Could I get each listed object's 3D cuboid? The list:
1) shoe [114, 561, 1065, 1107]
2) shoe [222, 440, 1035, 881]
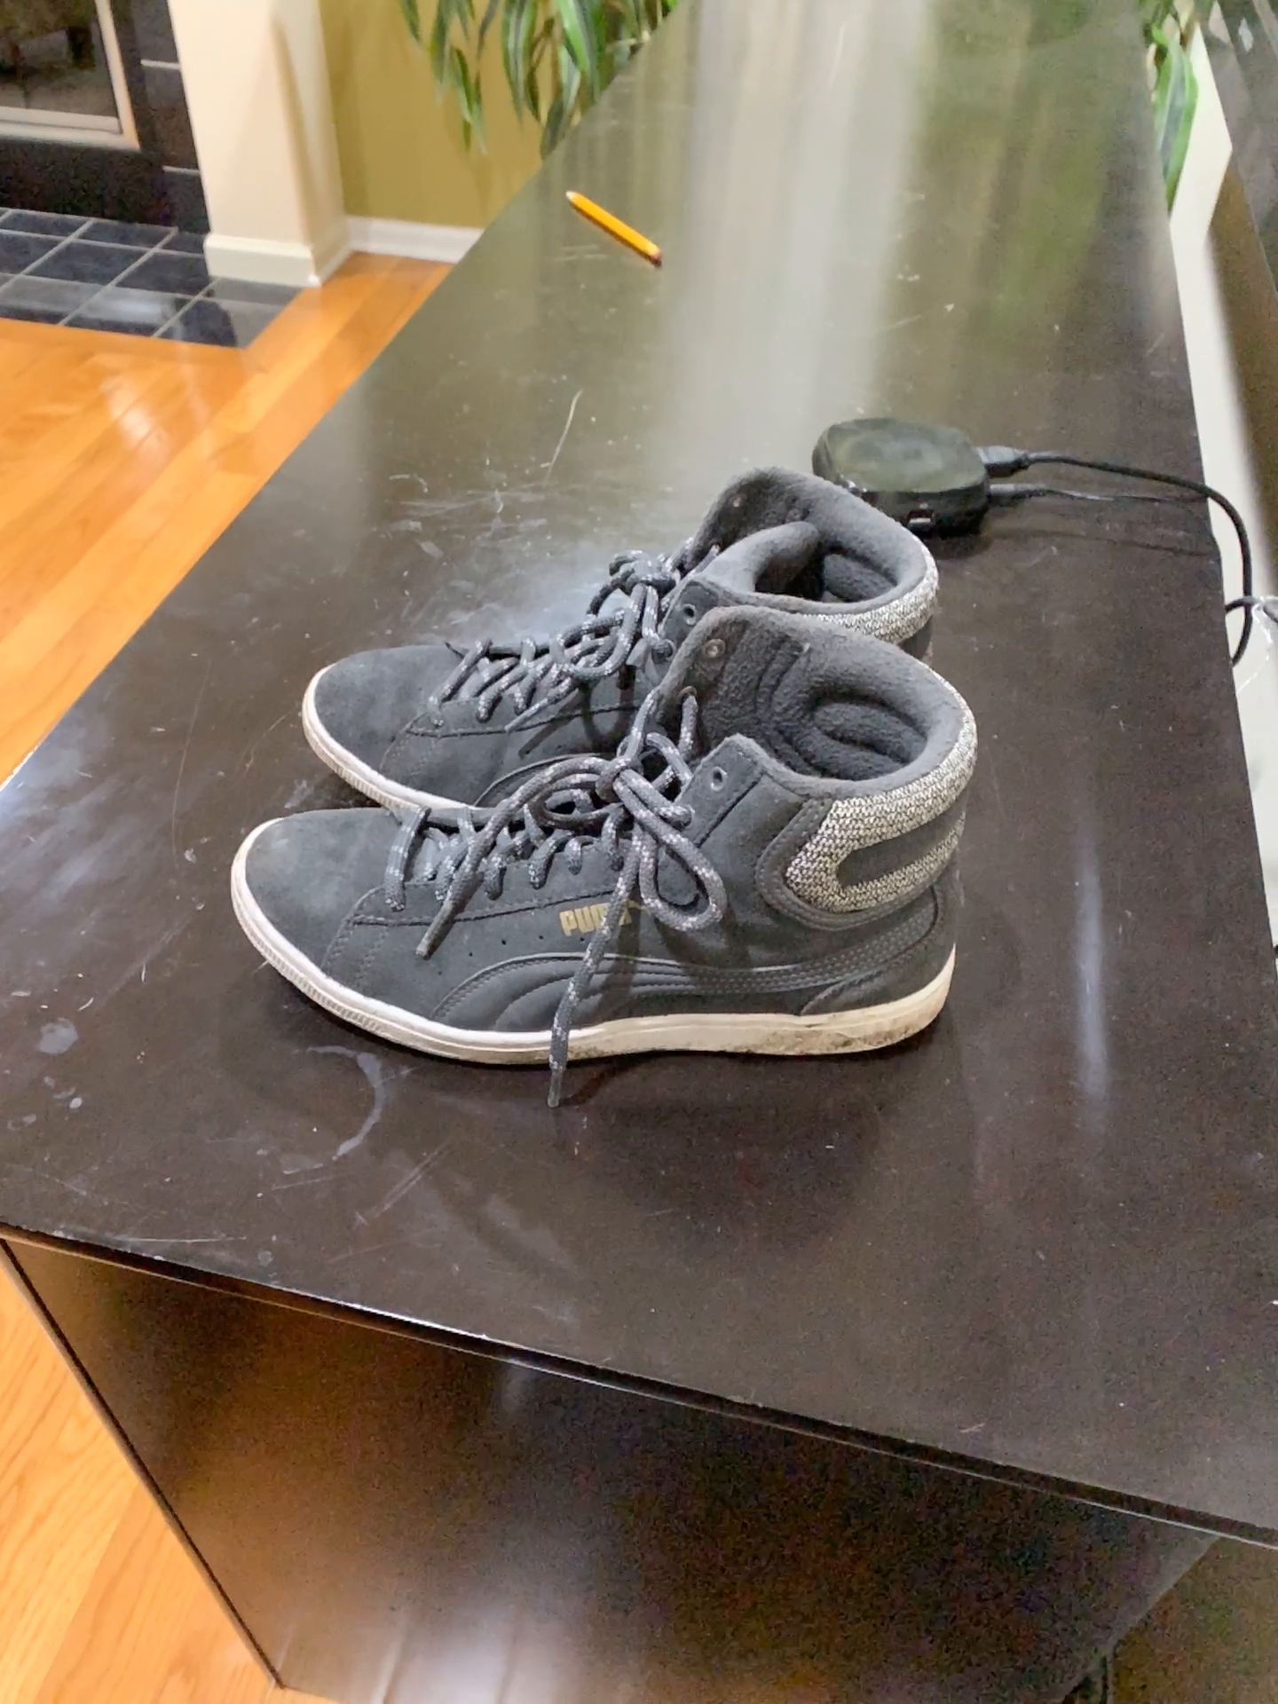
[{"bbox_3d":[-0.012,-0.005,0.424,0.252,0.124,0.098,5,45,2],"label":"shoe"},{"bbox_3d":[-0.002,-0.072,0.491,0.260,0.107,0.101,4,45,2],"label":"shoe"}]
